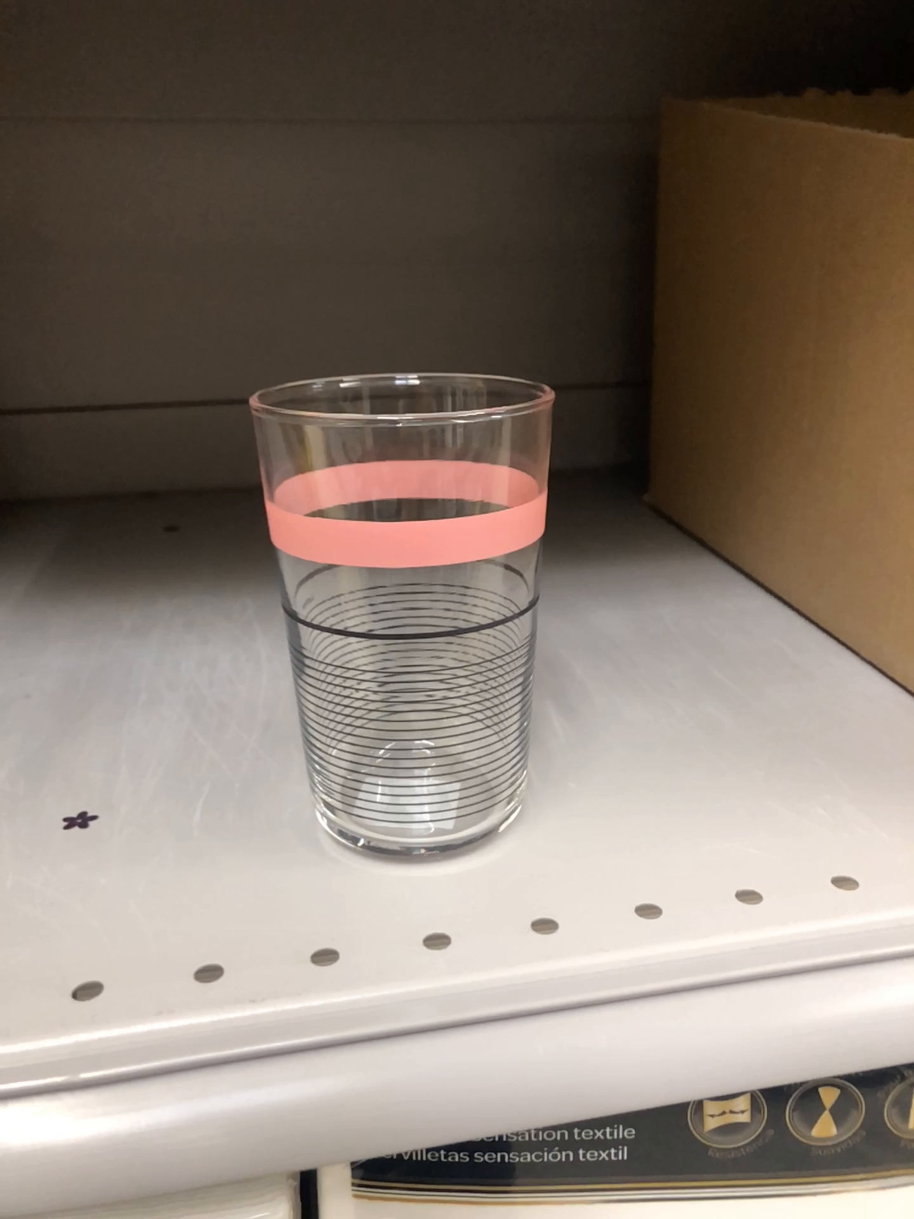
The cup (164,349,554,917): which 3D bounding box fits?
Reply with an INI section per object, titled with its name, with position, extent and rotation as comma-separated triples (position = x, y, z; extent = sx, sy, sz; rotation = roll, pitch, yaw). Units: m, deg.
[cup]
position = -0.017, 0.002, 0.255
extent = 0.073, 0.123, 0.064
rotation = 3, 23, 12
